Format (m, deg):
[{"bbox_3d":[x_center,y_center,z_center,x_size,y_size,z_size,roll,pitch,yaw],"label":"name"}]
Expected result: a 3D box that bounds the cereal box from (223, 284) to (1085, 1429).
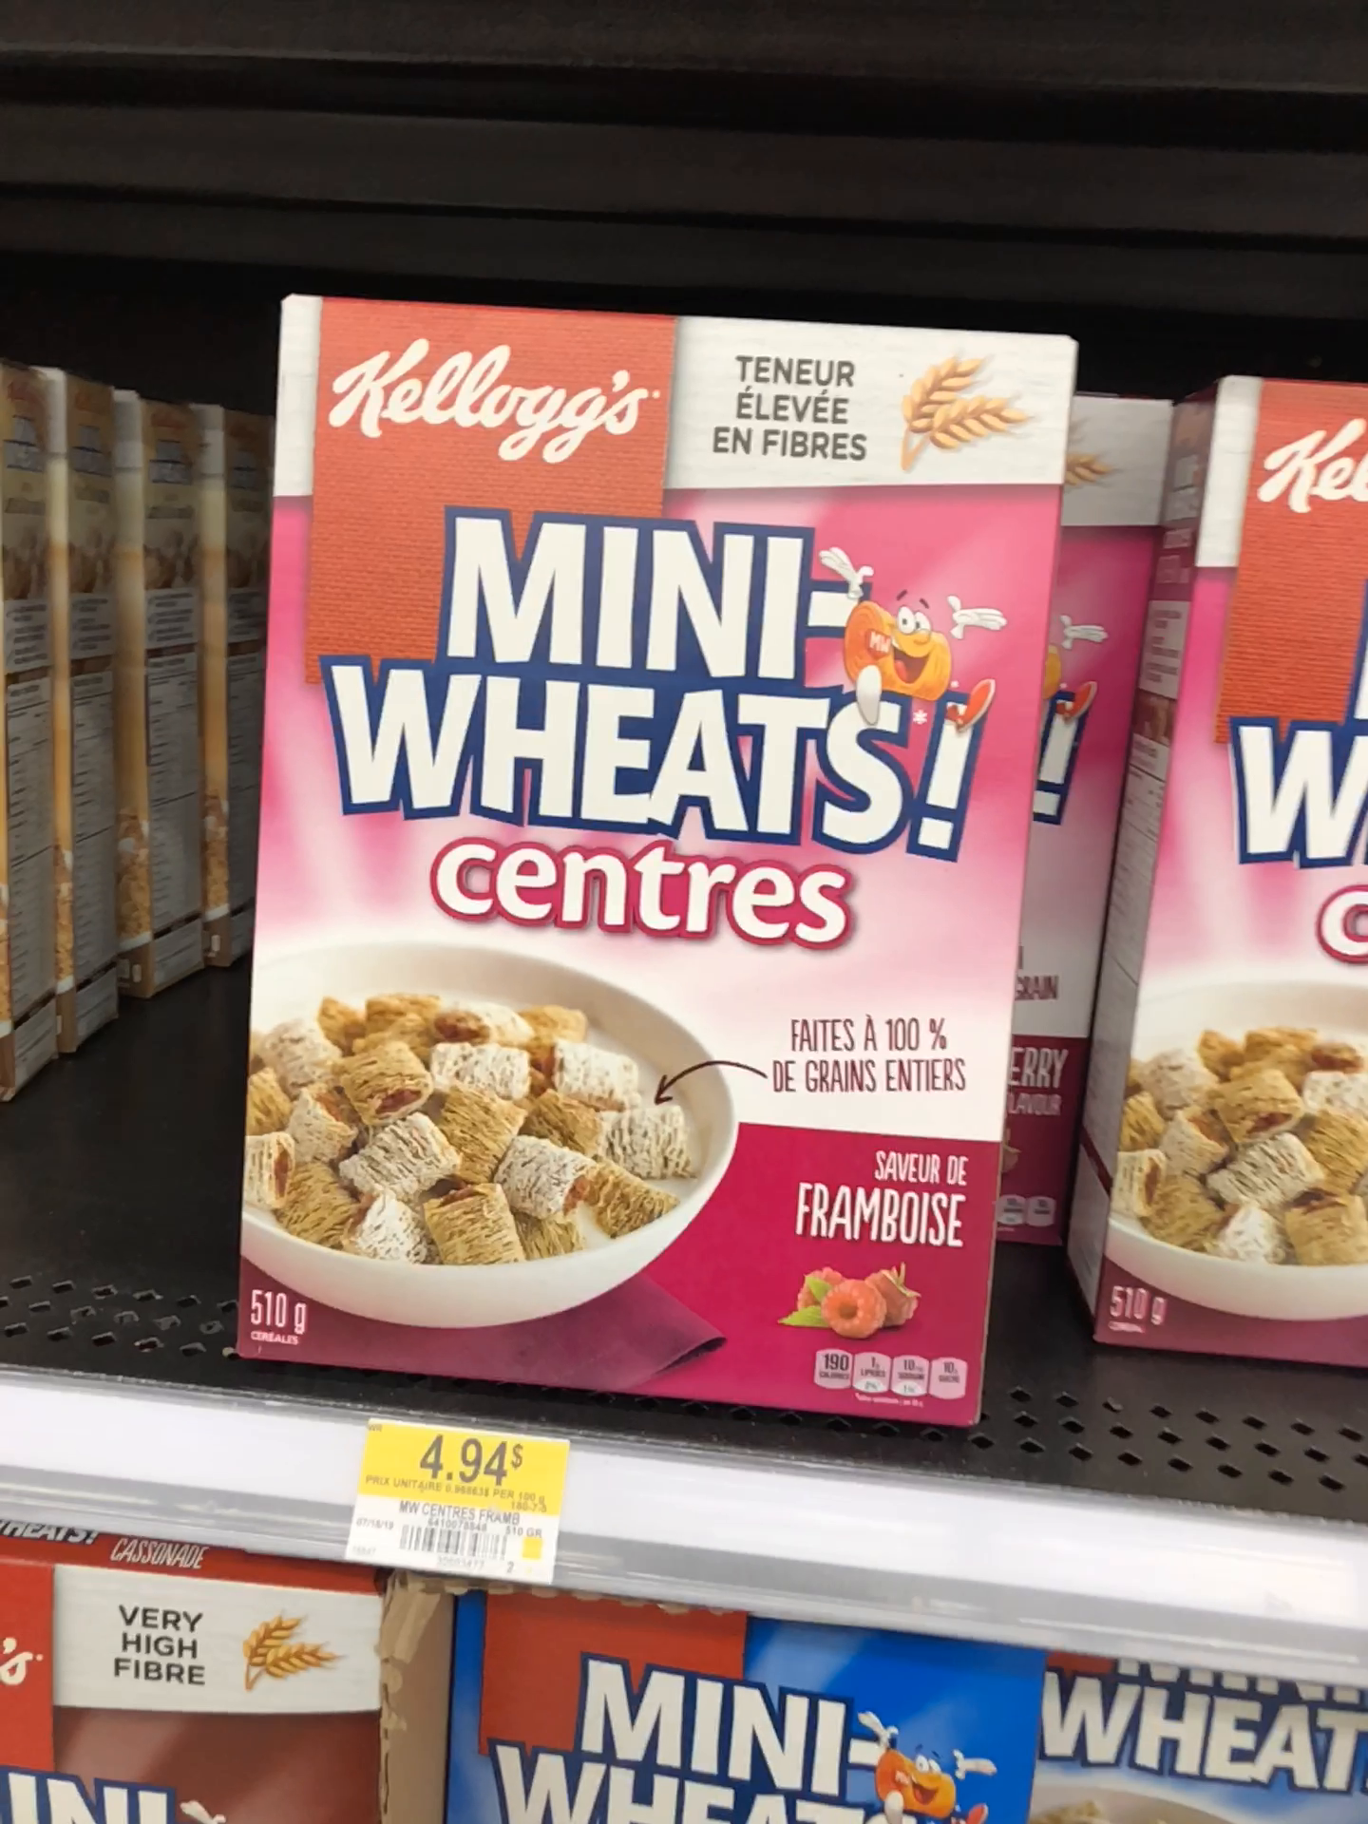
[{"bbox_3d":[-0.011,-0.014,0.391,0.190,0.259,0.070,4,7,4],"label":"cereal box"}]
